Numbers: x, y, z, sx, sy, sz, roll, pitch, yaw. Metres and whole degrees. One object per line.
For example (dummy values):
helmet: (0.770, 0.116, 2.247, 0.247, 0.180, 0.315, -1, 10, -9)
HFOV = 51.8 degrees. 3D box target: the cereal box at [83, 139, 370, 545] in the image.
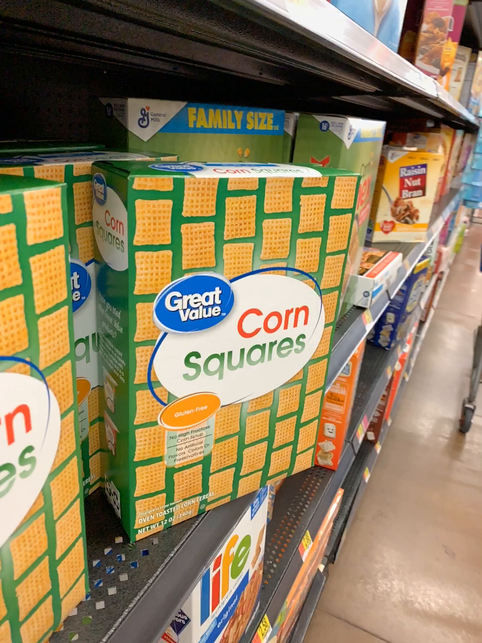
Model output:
cereal box: (-0.015, 0.011, 0.410, 0.200, 0.289, 0.070, -10, 27, -34)
